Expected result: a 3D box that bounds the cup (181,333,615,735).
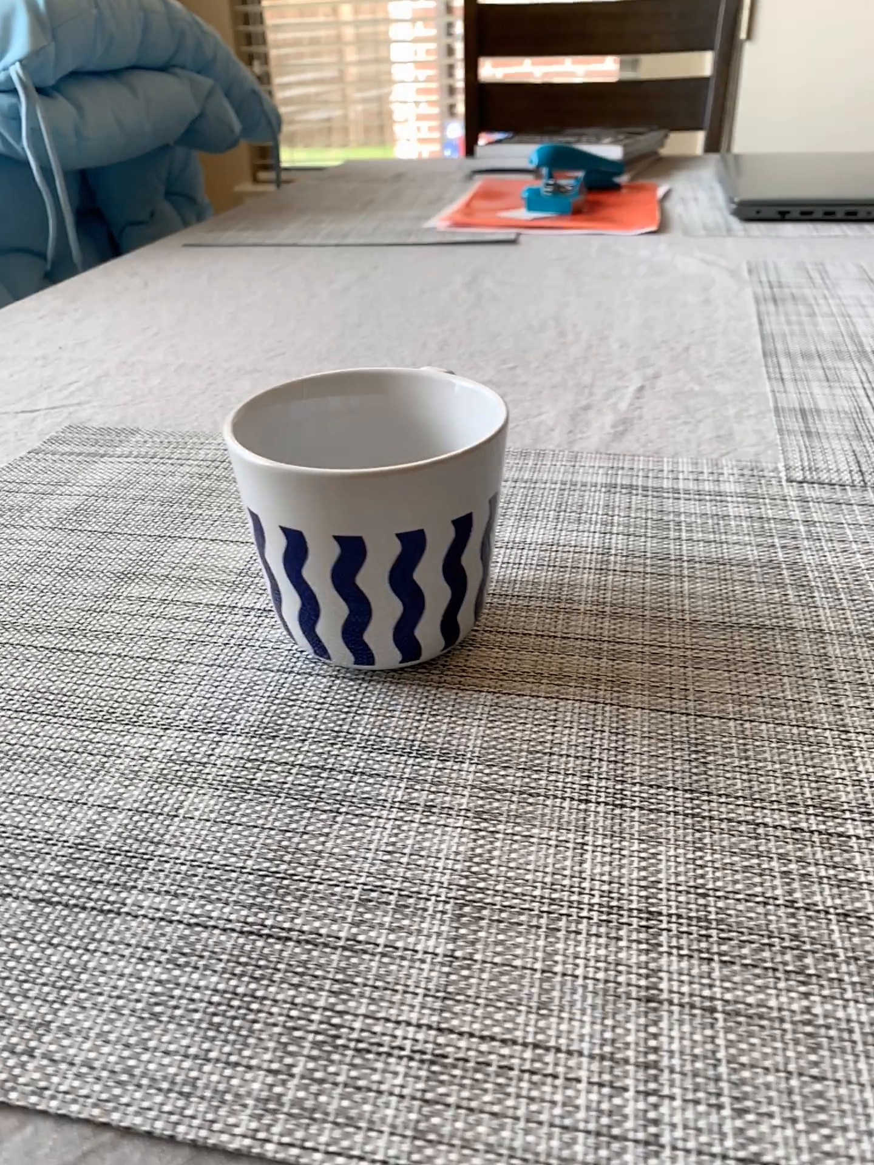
[{"bbox_3d":[-0.005,-0.025,0.292,0.086,0.072,0.113,14,35,25],"label":"cup"}]
